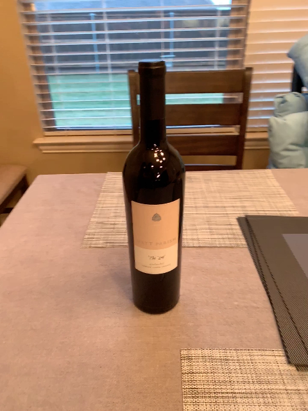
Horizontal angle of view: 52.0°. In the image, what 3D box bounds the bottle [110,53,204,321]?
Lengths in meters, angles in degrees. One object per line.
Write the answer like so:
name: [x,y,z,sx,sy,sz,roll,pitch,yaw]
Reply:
bottle: [0.005,-0.007,0.400,0.083,0.328,0.090,-1,30,1]
